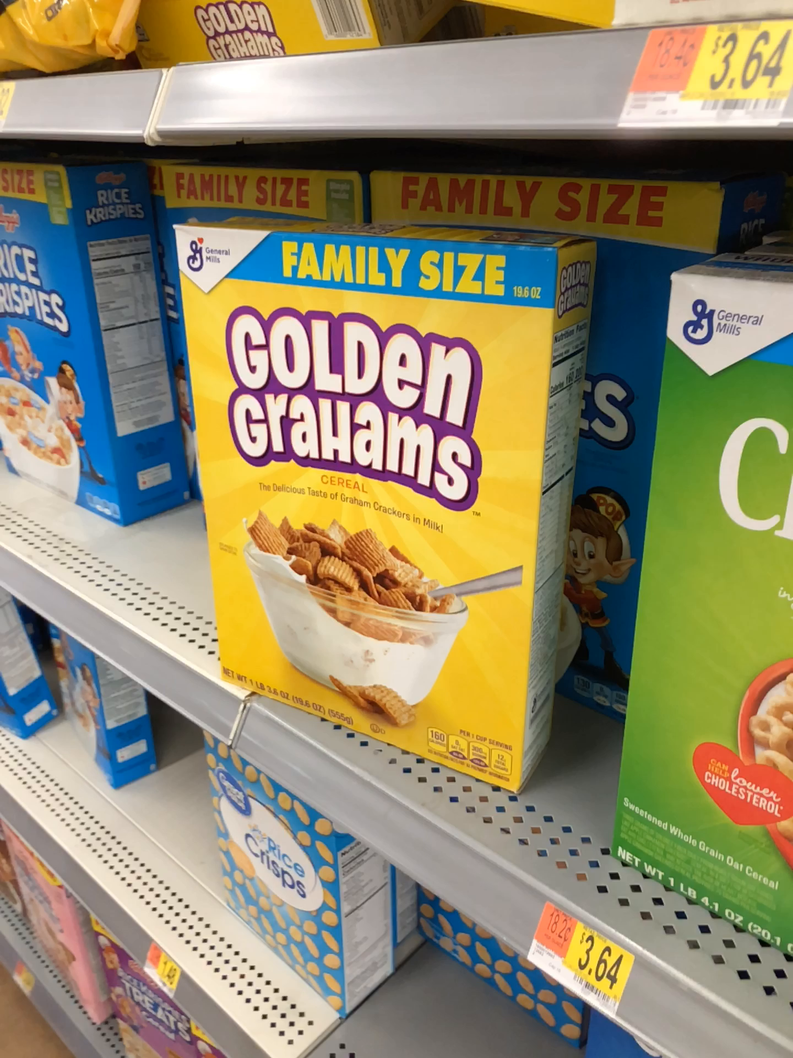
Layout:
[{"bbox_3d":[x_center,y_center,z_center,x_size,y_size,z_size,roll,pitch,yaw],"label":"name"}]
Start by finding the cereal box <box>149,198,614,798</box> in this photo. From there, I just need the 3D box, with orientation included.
[{"bbox_3d":[-0.013,-0.025,0.520,0.240,0.309,0.070,14,29,29],"label":"cereal box"}]
